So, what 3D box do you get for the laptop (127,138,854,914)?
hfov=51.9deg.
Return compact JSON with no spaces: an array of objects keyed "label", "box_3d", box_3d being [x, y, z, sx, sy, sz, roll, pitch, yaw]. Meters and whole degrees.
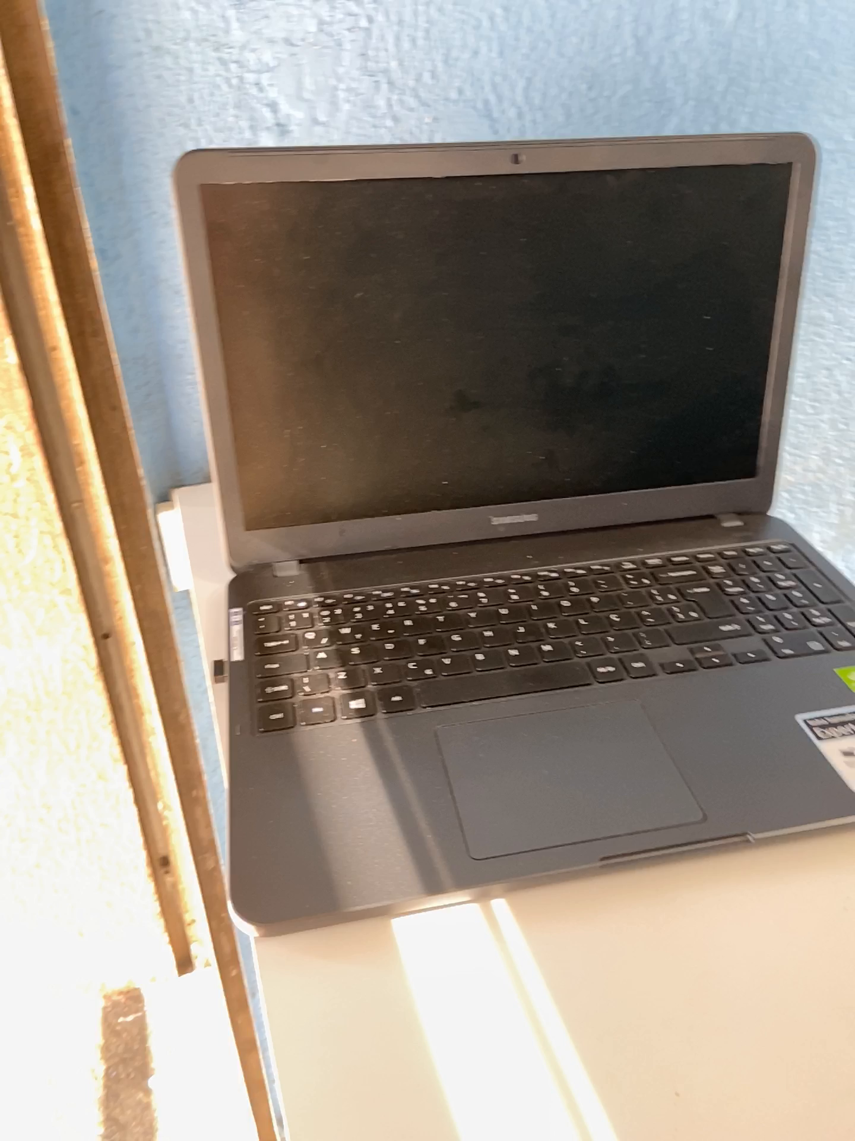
[{"label":"laptop","box_3d":[0.078,-0.060,0.436,0.370,0.232,0.288,-7,34,-9]}]
